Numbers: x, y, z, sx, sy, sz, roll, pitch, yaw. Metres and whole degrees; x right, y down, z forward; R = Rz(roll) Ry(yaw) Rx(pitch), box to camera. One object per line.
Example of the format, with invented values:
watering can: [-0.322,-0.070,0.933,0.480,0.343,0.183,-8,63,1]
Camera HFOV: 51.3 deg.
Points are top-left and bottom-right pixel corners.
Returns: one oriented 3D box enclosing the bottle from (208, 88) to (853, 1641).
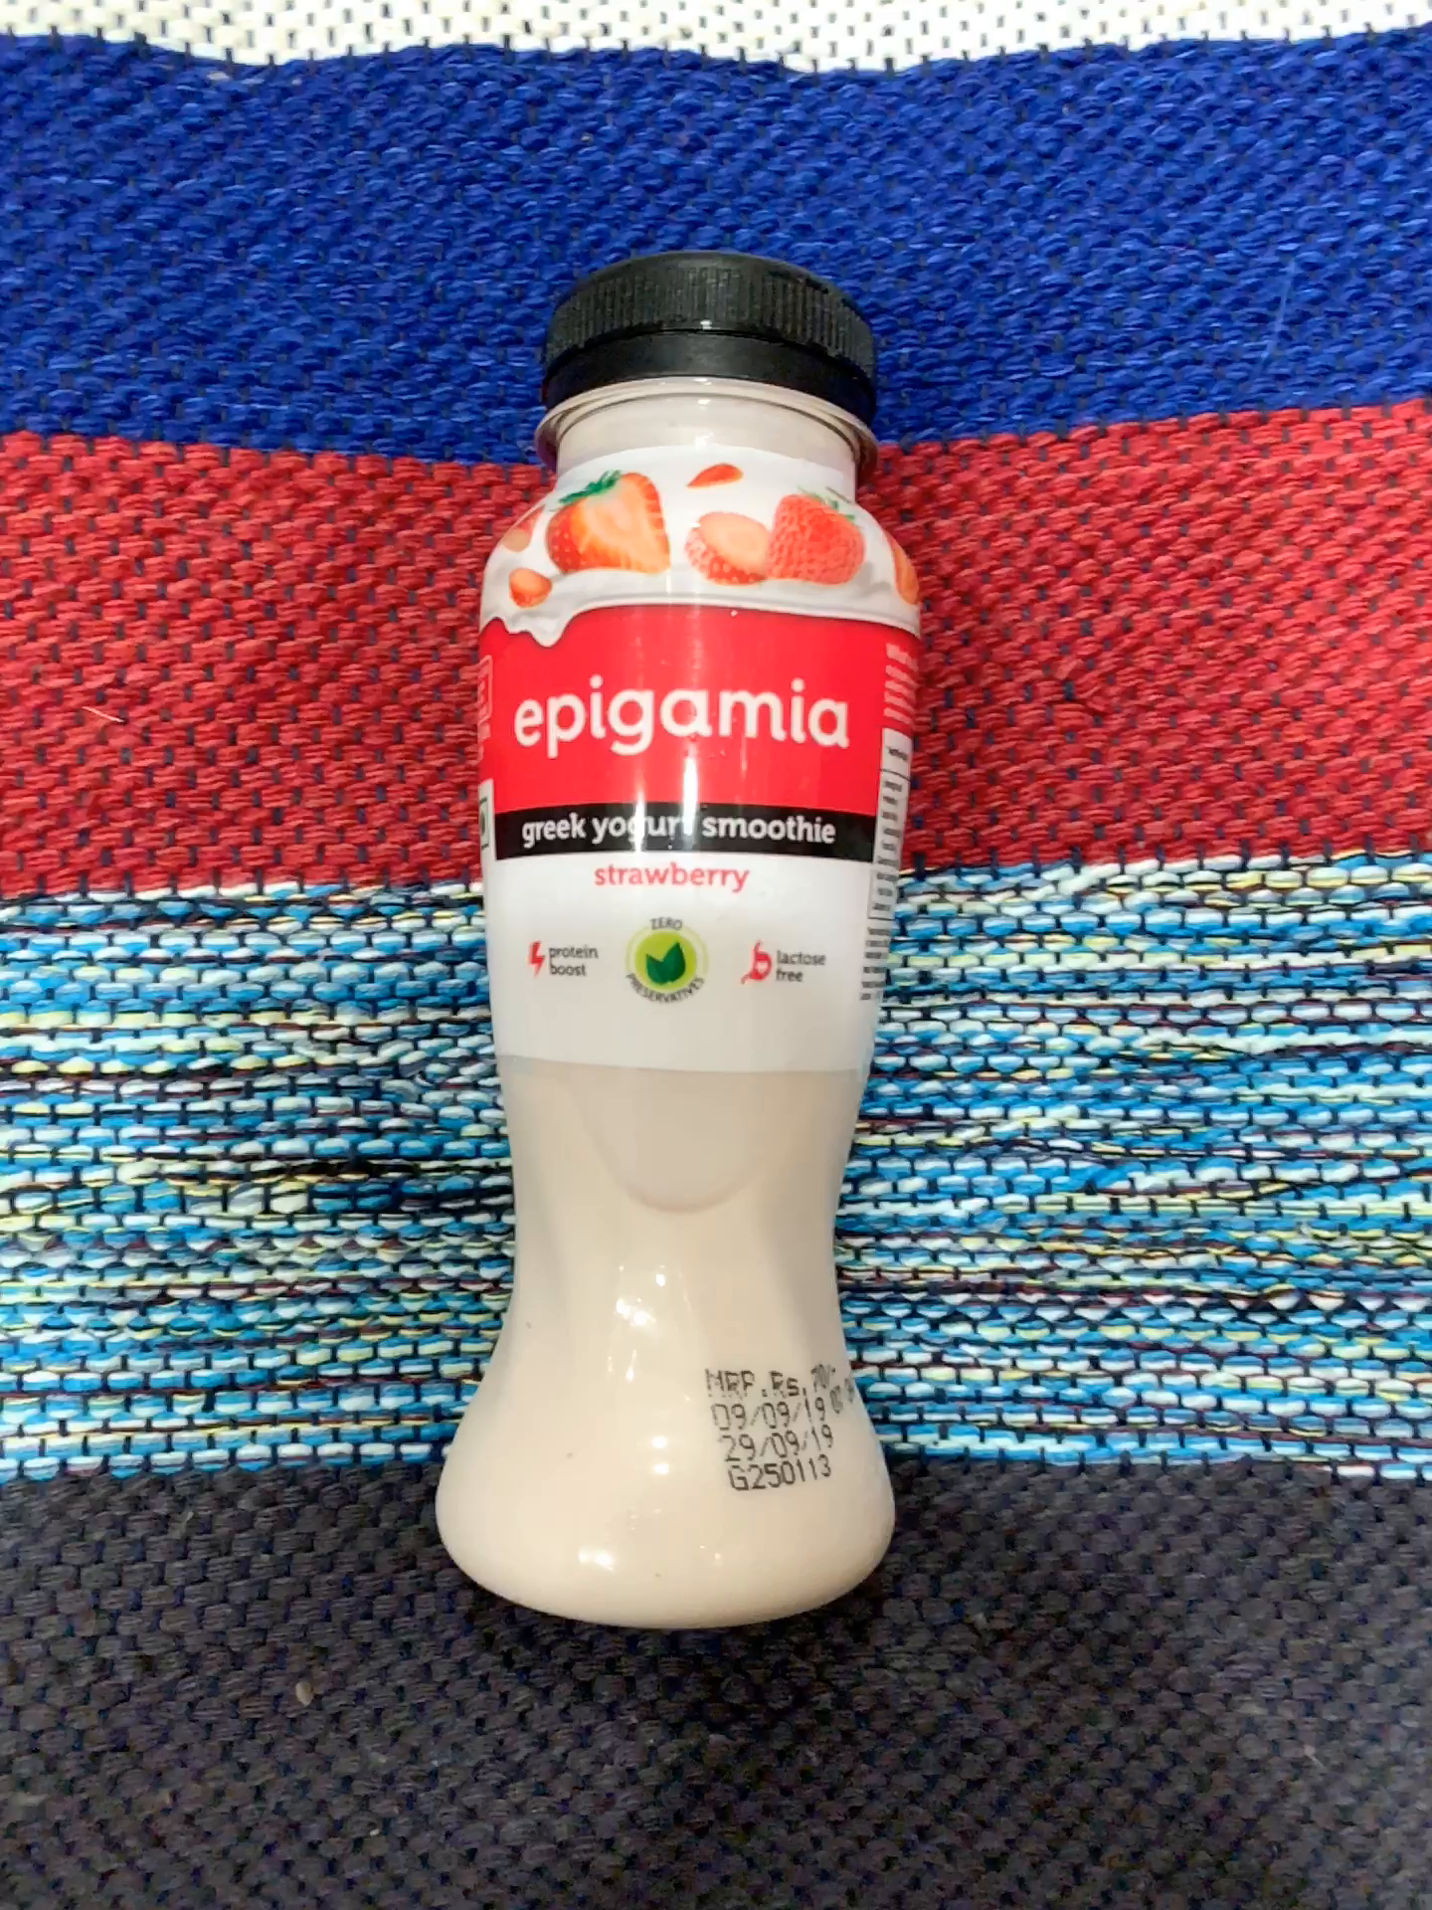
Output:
bottle: [-0.018,-0.011,0.178,0.060,0.050,0.160,1,83,-2]
